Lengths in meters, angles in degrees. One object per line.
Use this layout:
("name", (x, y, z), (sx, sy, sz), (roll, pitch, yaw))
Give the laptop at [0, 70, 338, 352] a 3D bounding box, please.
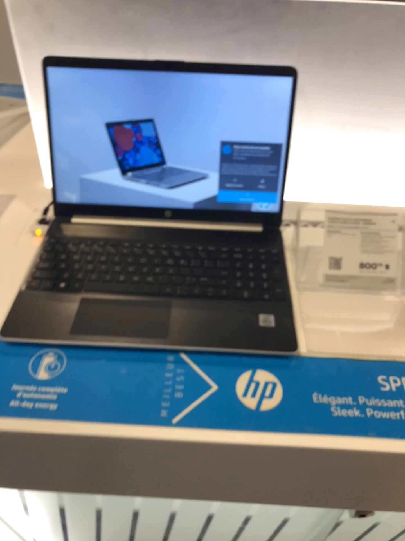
("laptop", (-0.049, -0.094, 0.574), (0.336, 0.206, 0.317), (3, 40, 2))
